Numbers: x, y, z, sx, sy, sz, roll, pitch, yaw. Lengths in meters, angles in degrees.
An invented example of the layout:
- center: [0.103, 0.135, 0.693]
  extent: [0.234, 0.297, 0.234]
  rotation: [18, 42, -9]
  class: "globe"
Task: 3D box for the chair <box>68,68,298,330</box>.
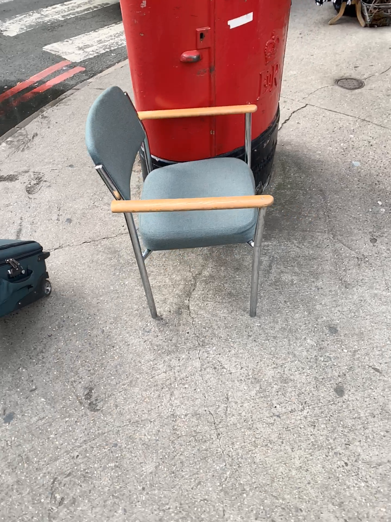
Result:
- center: [-0.019, -0.199, 1.443]
  extent: [0.570, 0.740, 0.562]
  rotation: [-1, 46, 2]
  class: "chair"
